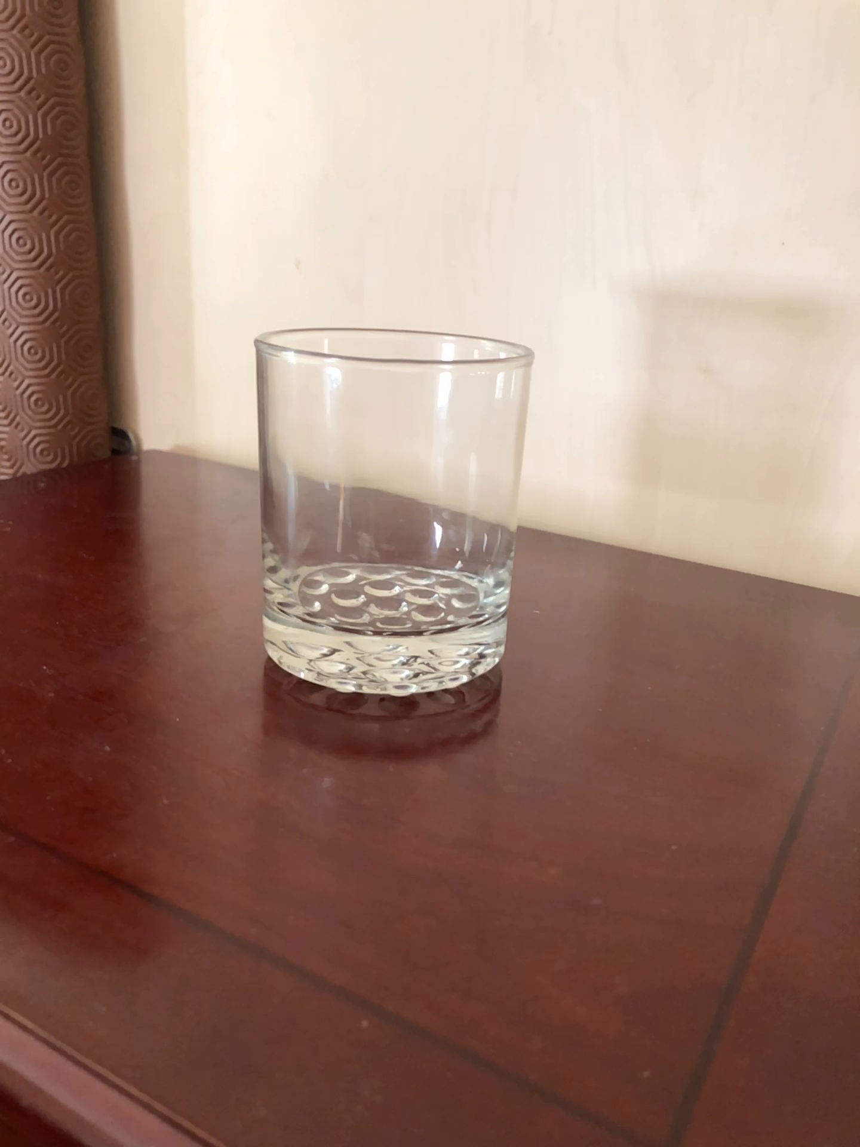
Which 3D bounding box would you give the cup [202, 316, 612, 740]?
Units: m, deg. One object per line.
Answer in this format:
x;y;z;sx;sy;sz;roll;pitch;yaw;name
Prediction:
-0.008;-0.022;0.282;0.081;0.097;0.082;3;18;-1;cup
